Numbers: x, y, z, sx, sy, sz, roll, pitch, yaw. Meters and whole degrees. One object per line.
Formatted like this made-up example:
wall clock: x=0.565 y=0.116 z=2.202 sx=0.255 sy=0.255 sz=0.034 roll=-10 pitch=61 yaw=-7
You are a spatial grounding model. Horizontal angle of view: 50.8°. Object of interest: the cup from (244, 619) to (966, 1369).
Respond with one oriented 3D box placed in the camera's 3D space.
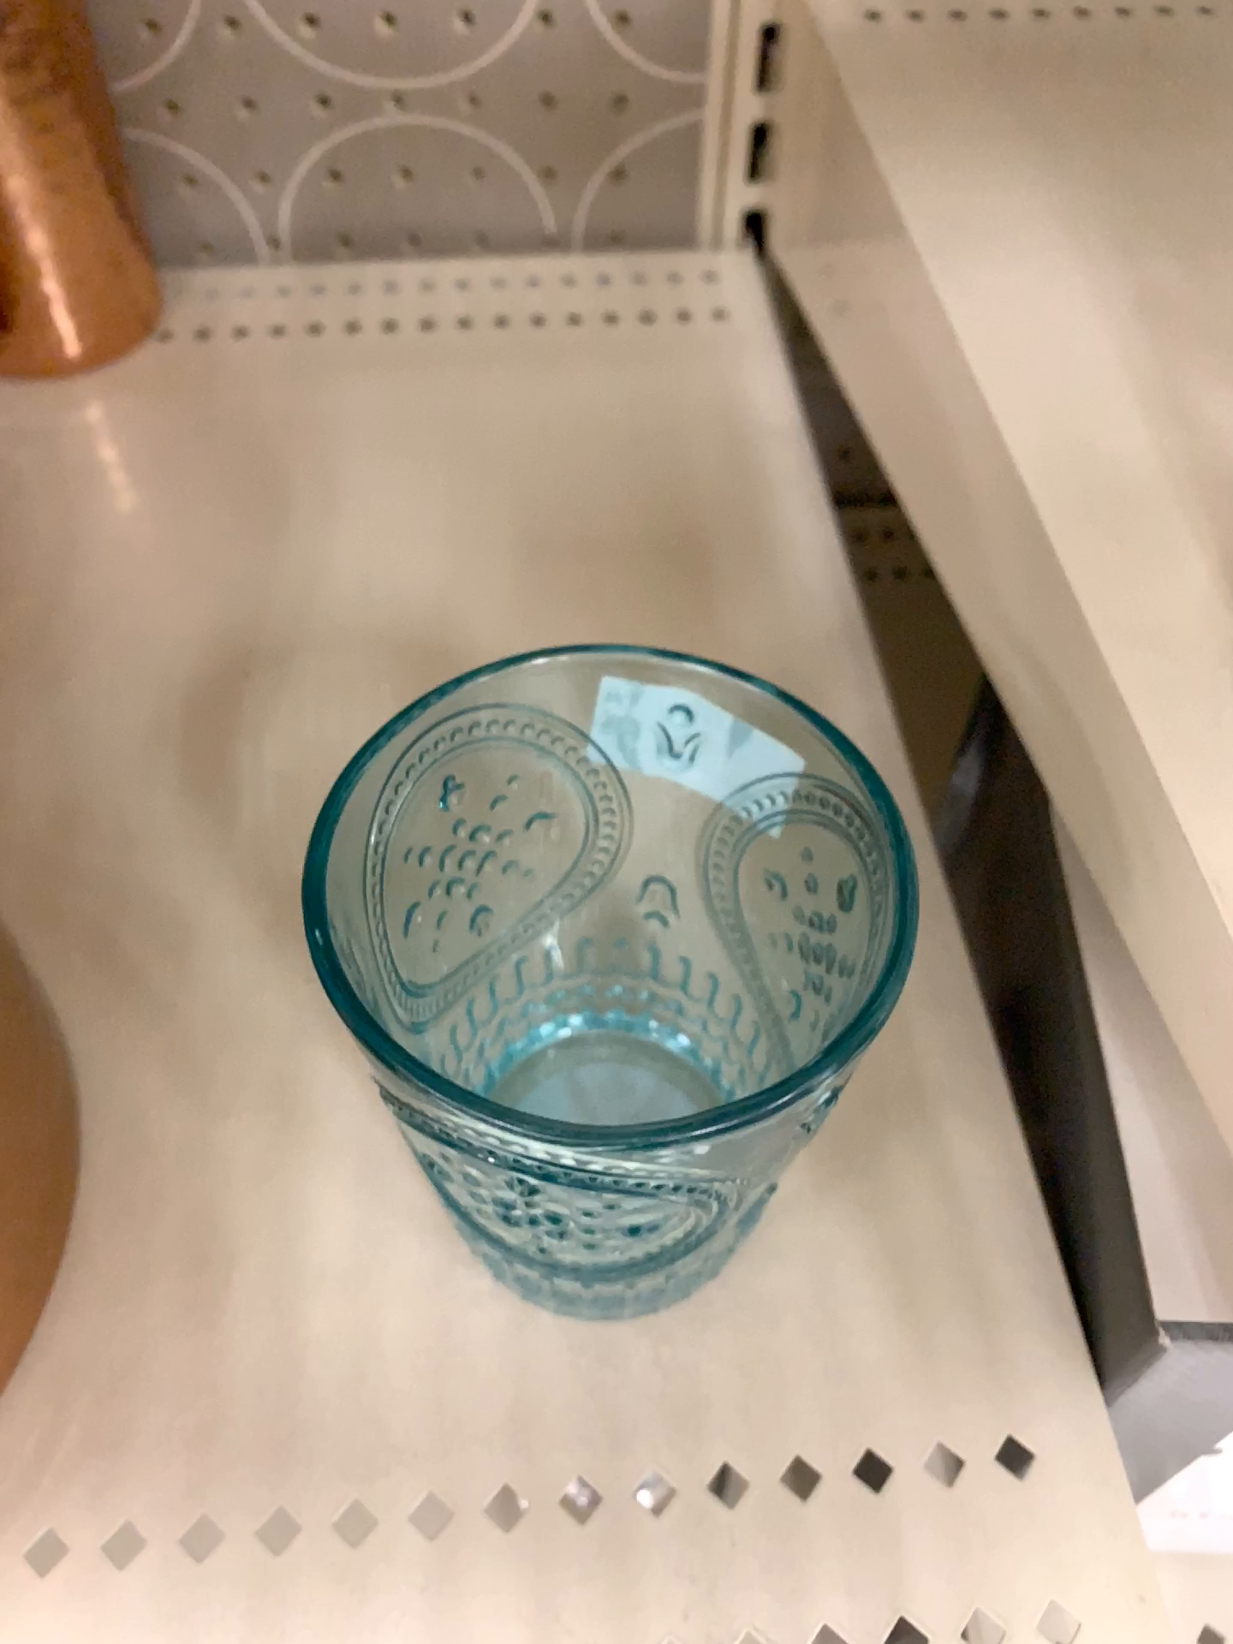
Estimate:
cup: x=-0.004 y=0.030 z=0.200 sx=0.078 sy=0.091 sz=0.076 roll=1 pitch=53 yaw=-1
